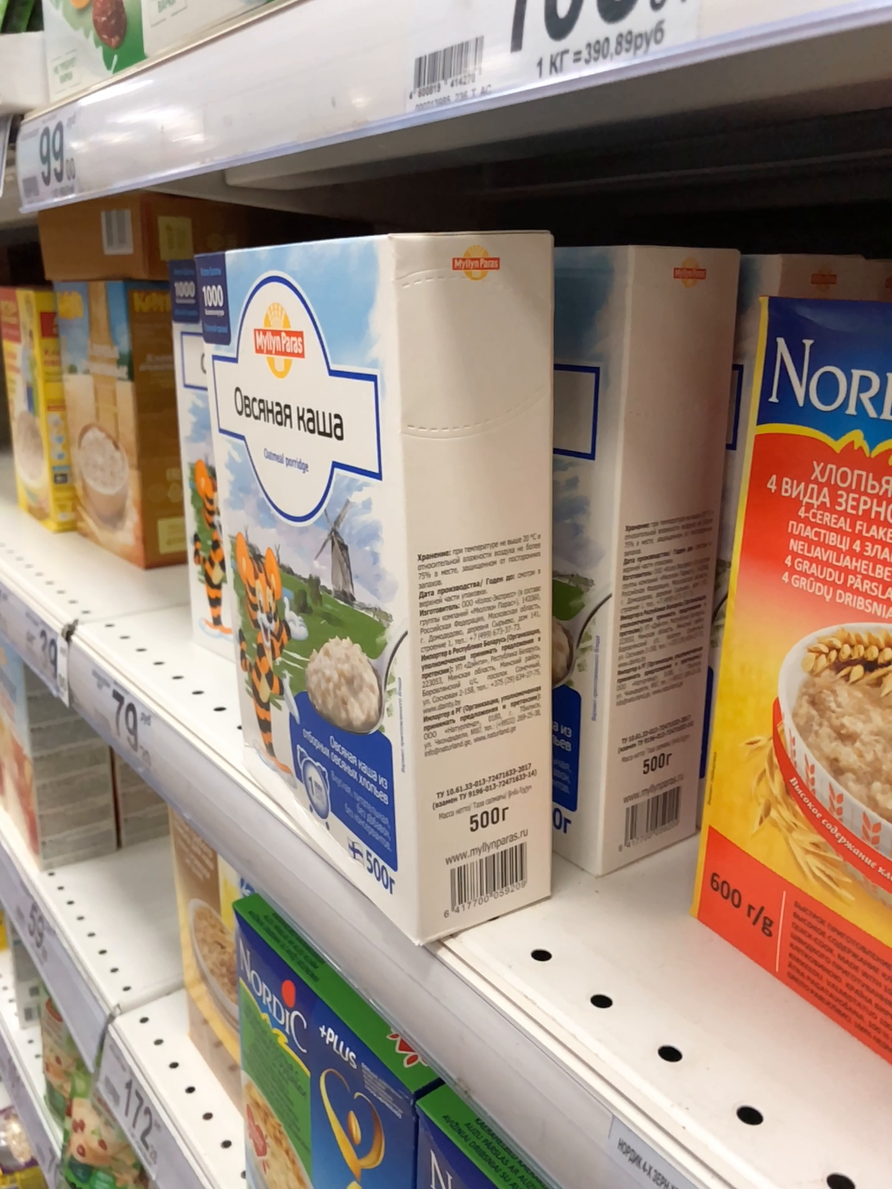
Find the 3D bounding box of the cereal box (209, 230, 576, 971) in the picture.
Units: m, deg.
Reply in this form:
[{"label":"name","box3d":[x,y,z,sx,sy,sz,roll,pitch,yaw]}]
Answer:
[{"label":"cereal box","box3d":[-0.025,-0.010,0.340,0.050,0.209,0.150,-11,20,-29]}]
